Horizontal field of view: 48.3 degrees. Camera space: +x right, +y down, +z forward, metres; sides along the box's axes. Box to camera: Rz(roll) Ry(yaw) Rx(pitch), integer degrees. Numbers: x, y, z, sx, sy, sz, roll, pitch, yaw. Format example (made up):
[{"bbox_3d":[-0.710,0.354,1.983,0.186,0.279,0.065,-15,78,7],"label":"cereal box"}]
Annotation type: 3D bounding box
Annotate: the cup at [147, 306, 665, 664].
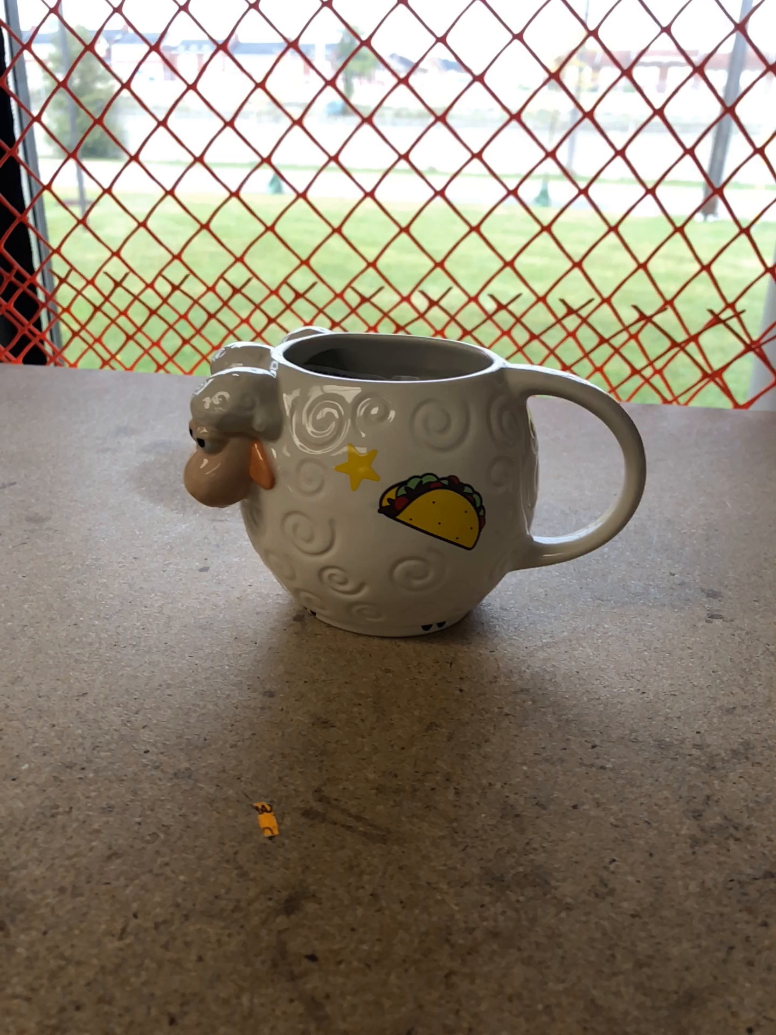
[{"bbox_3d":[0.007,-0.016,0.295,0.146,0.090,0.076,4,24,7],"label":"cup"}]
